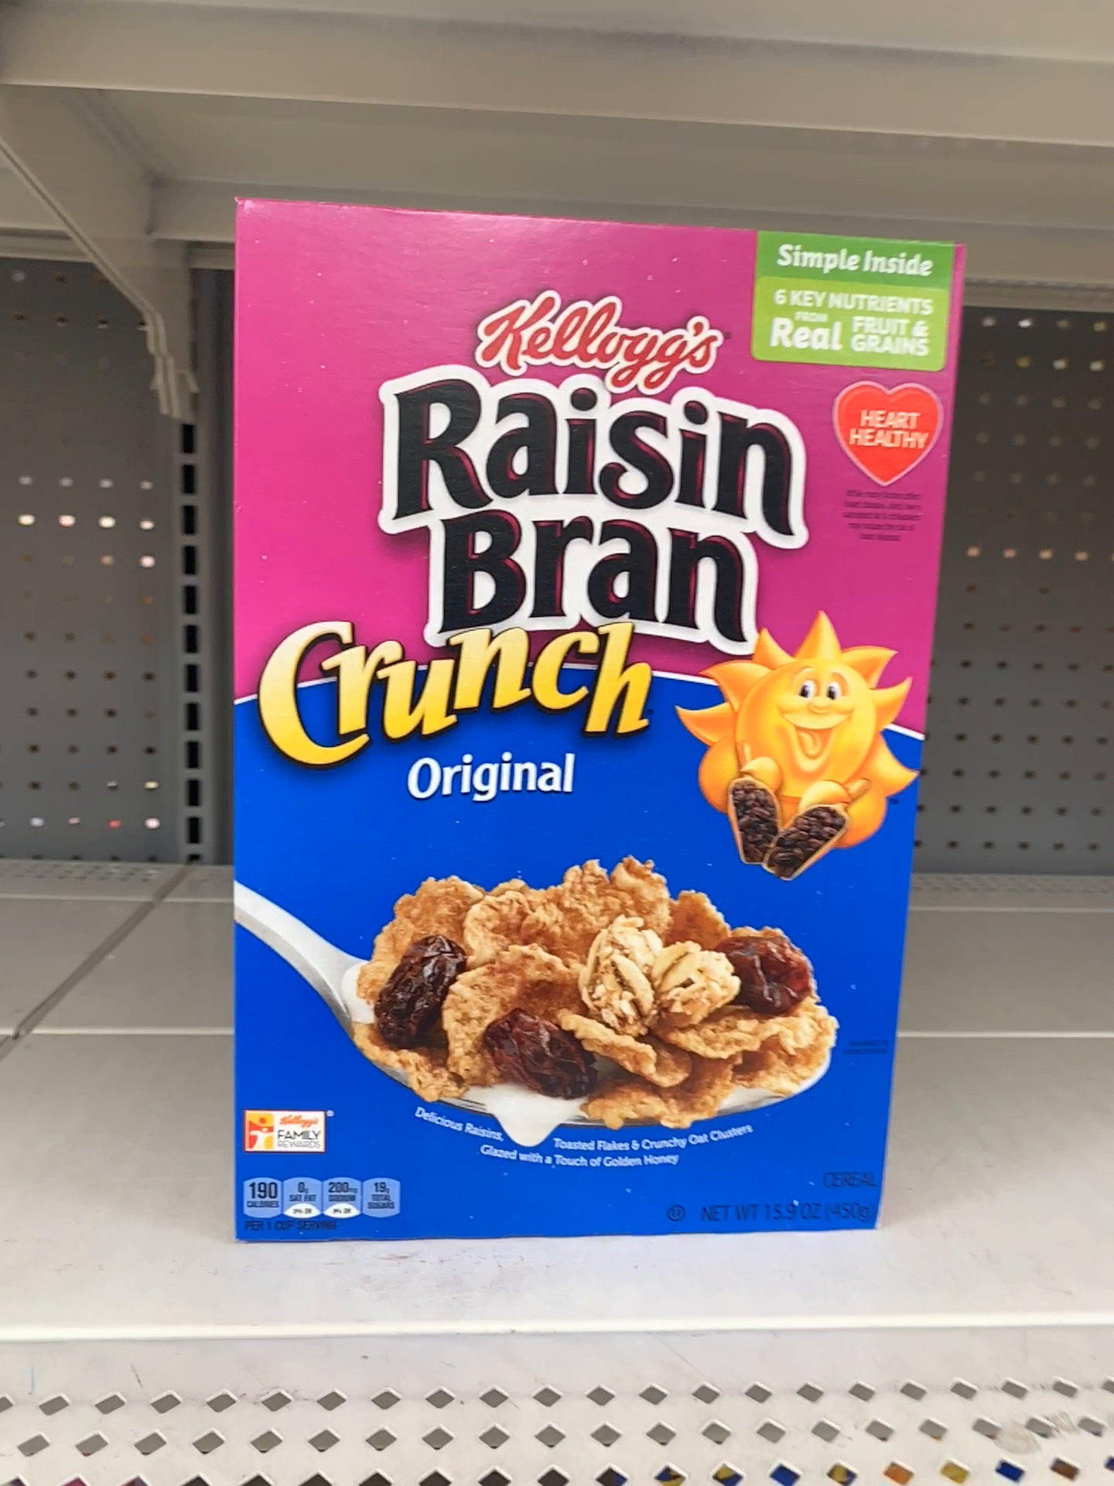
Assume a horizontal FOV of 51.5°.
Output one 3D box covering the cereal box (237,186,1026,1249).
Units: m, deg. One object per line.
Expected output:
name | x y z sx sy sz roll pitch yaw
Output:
cereal box | 0.015 0.000 0.333 0.200 0.279 0.050 1 8 -4
